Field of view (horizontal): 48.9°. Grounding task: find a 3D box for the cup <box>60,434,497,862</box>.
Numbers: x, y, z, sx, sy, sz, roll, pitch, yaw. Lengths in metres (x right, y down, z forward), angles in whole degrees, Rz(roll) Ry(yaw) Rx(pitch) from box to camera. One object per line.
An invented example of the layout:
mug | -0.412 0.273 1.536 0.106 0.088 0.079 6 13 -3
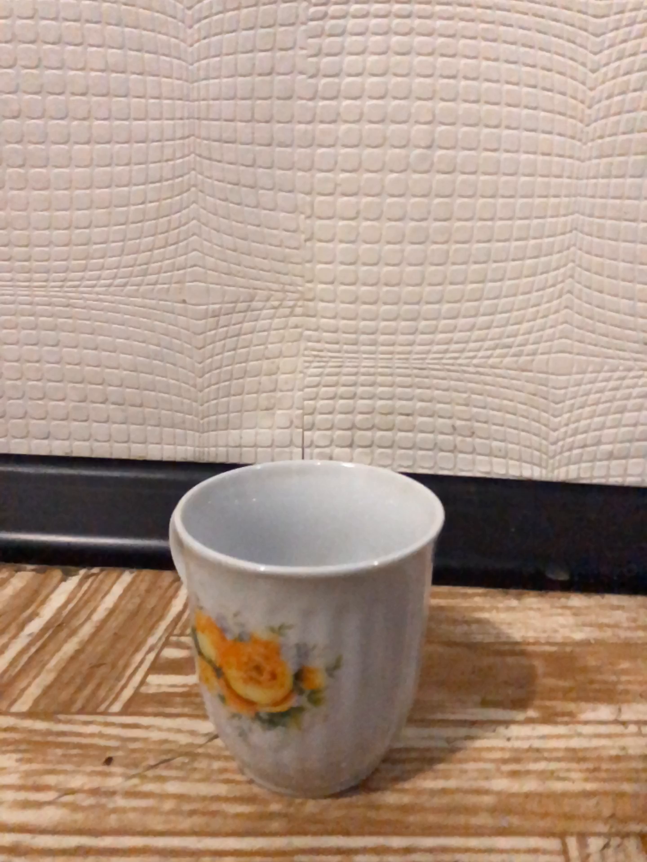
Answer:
cup | -0.009 0.053 0.226 0.097 0.069 0.095 1 17 0
